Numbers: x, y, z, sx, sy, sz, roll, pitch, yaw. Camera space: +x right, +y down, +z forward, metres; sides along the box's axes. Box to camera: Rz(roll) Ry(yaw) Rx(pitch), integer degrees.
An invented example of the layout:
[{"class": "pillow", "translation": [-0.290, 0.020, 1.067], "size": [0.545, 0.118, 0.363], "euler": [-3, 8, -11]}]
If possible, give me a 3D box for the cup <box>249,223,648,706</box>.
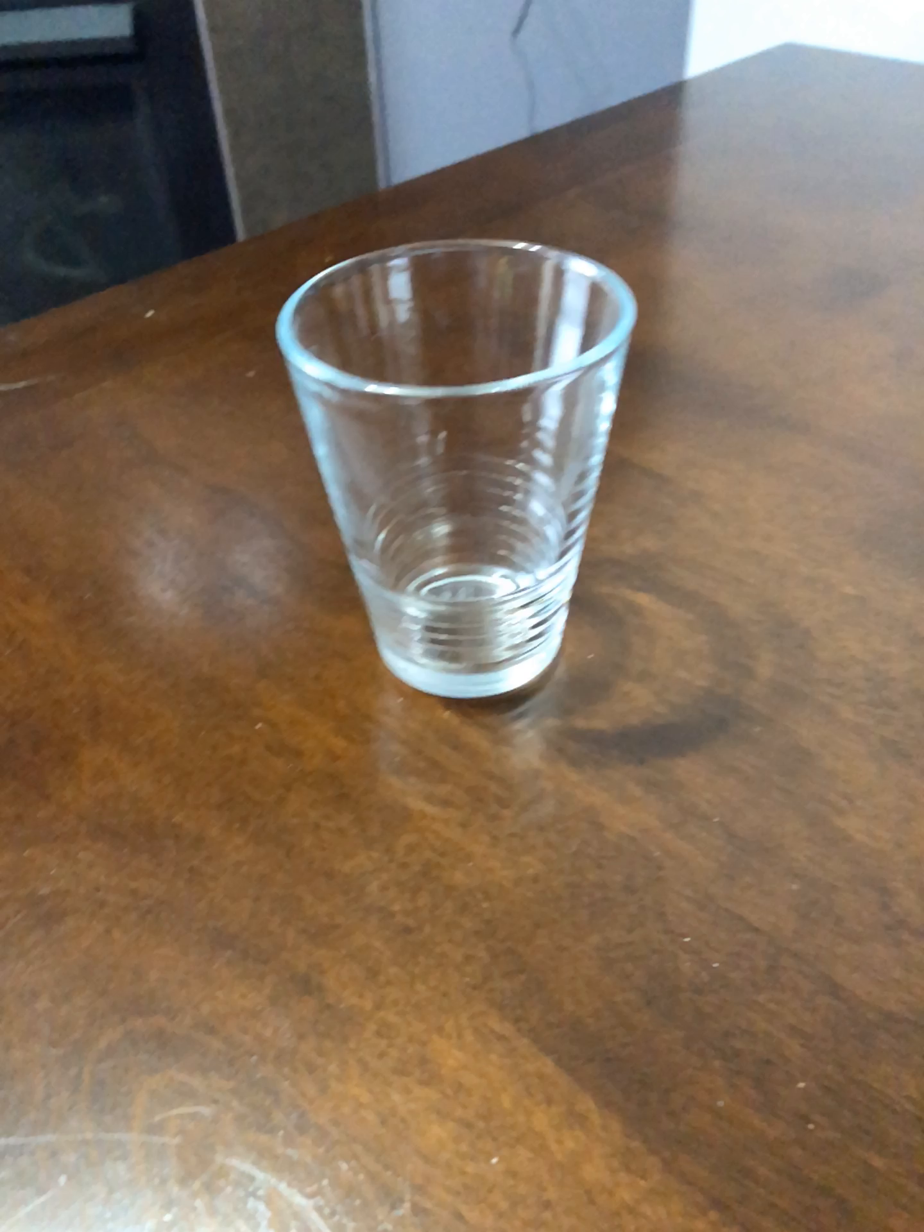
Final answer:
[{"class": "cup", "translation": [0.000, -0.037, 0.265], "size": [0.080, 0.100, 0.070], "euler": [0, 40, 3]}]
